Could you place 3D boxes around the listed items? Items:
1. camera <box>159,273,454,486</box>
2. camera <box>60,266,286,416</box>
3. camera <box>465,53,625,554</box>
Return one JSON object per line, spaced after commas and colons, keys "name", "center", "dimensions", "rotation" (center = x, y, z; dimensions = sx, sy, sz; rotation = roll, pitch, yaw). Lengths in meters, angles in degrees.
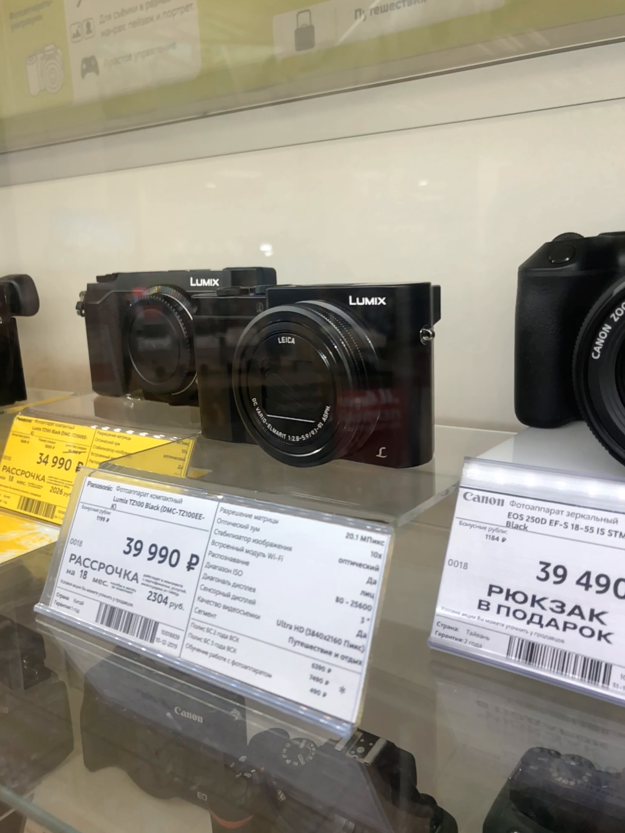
{"name": "camera", "center": [-0.004, -0.019, 0.272], "dimensions": [0.111, 0.068, 0.038], "rotation": [6, 15, 35]}
{"name": "camera", "center": [-0.076, -0.044, 0.376], "dimensions": [0.108, 0.068, 0.055], "rotation": [6, 15, 35]}
{"name": "camera", "center": [0.162, -0.045, 0.247], "dimensions": [0.157, 0.099, 0.164], "rotation": [6, 17, 35]}
